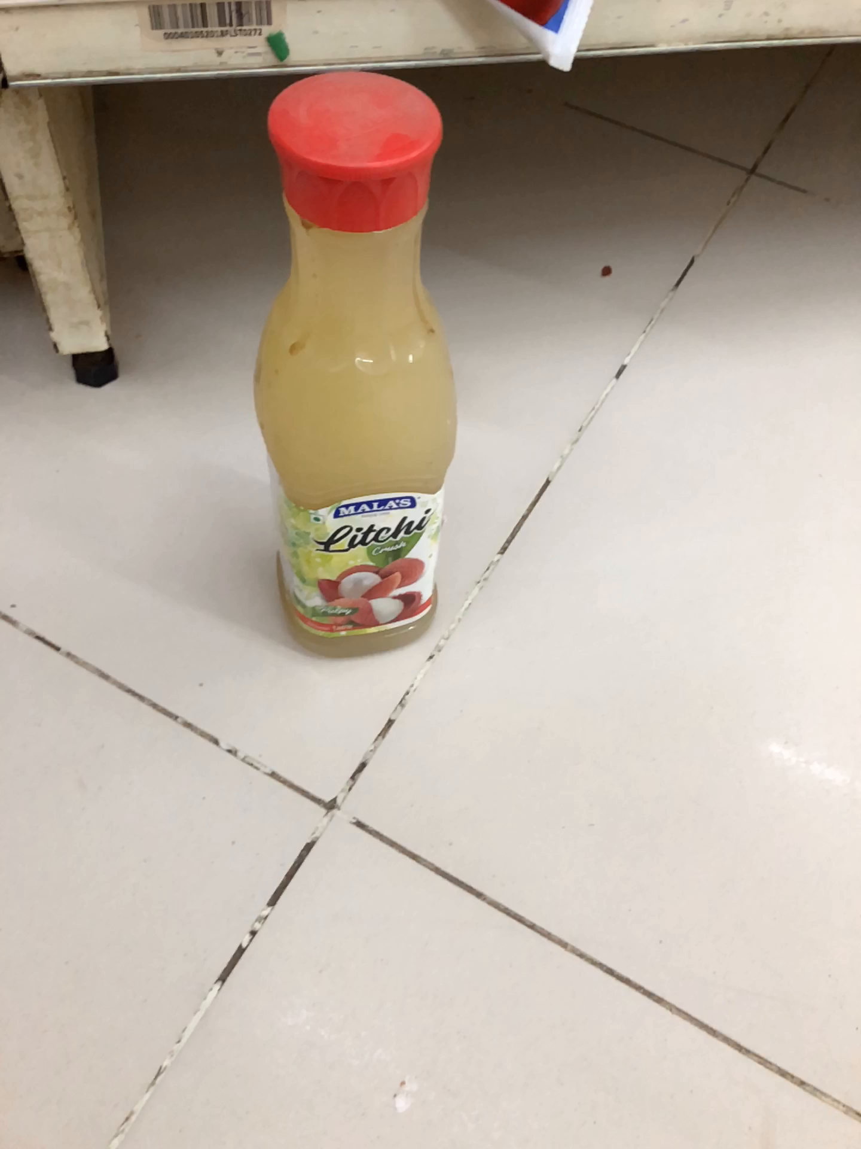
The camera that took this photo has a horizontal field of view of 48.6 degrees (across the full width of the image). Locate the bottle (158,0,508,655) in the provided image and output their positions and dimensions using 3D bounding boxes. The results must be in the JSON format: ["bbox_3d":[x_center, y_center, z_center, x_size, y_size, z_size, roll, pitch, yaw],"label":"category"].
[{"bbox_3d":[-0.041,-0.082,0.406,0.090,0.288,0.090,2,56,-3],"label":"bottle"}]
